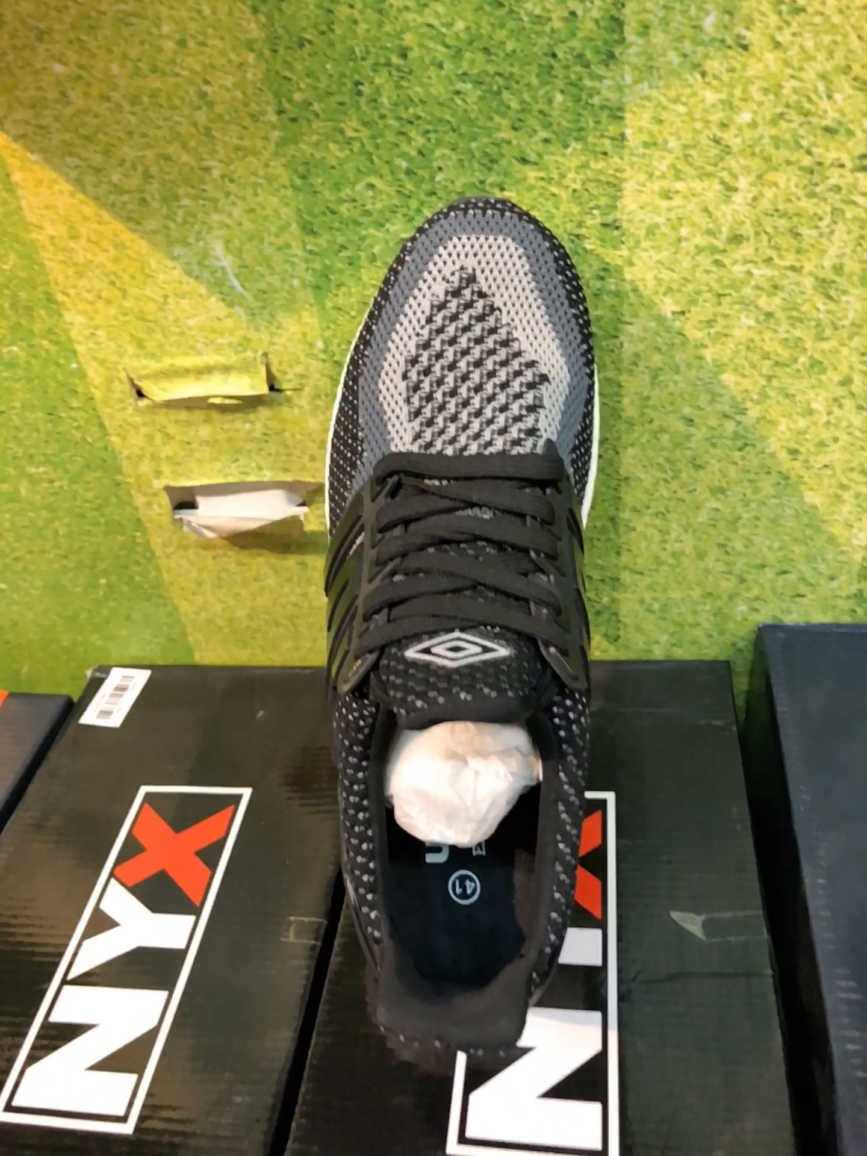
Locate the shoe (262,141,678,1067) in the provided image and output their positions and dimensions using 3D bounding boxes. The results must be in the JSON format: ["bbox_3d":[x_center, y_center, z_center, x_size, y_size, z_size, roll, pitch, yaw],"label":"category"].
[{"bbox_3d":[0.015,0.006,0.342,0.110,0.122,0.269,3,80,-1],"label":"shoe"}]
